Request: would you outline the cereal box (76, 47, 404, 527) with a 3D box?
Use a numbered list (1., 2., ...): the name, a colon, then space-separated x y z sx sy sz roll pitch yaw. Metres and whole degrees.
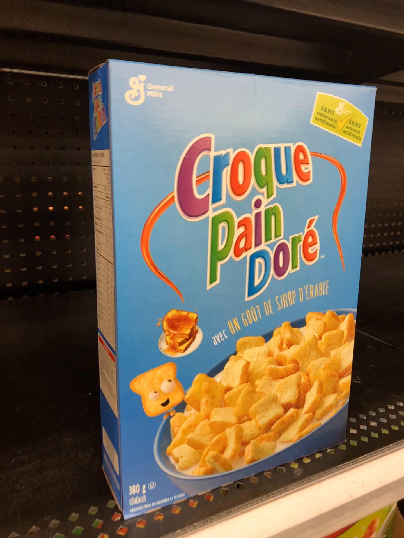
1. cereal box: 0.032 0.009 0.313 0.210 0.269 0.060 -6 15 -26
